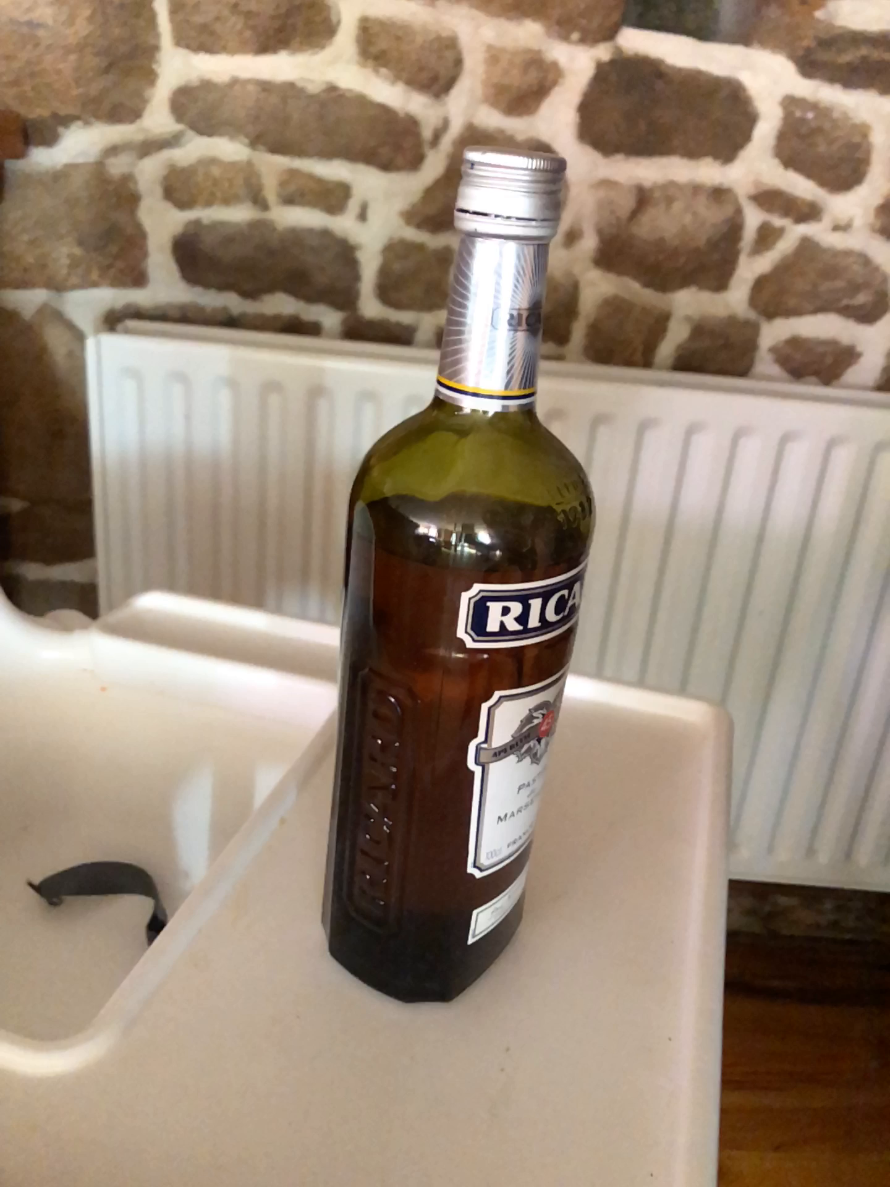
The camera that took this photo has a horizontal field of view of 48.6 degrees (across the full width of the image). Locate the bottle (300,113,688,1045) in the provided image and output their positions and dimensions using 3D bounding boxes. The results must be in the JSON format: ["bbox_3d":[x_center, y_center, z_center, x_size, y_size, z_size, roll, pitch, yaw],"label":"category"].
[{"bbox_3d":[0.009,0.002,0.345,0.070,0.298,0.091,19,27,28],"label":"bottle"}]
